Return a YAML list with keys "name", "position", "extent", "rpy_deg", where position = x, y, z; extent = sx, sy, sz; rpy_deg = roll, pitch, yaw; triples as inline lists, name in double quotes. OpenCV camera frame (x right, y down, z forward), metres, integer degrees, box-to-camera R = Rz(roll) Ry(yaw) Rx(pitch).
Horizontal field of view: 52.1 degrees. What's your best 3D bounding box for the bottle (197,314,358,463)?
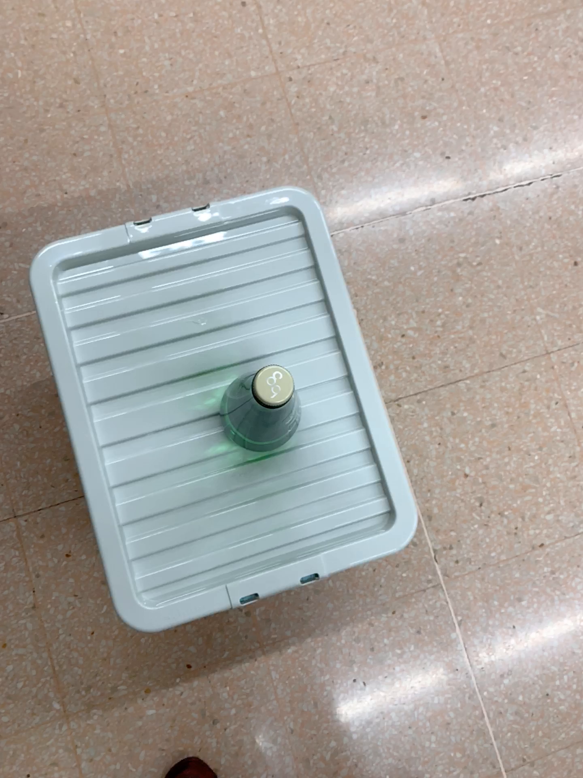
- name: "bottle"
  position: [-0.023, 0.016, 0.541]
  extent: [0.093, 0.300, 0.084]
  rpy_deg: [-10, 84, -7]
